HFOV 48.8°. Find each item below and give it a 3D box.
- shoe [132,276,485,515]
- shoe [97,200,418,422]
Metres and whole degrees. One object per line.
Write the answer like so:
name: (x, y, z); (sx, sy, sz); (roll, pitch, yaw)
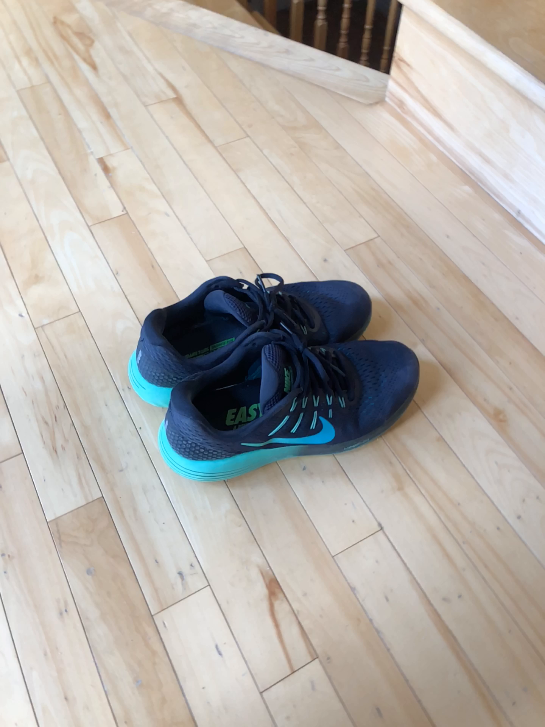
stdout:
shoe: (0.031, 0.026, 0.575); (0.290, 0.100, 0.120); (-16, 57, -11)
shoe: (-0.015, -0.059, 0.628); (0.290, 0.100, 0.120); (-18, 58, -13)
